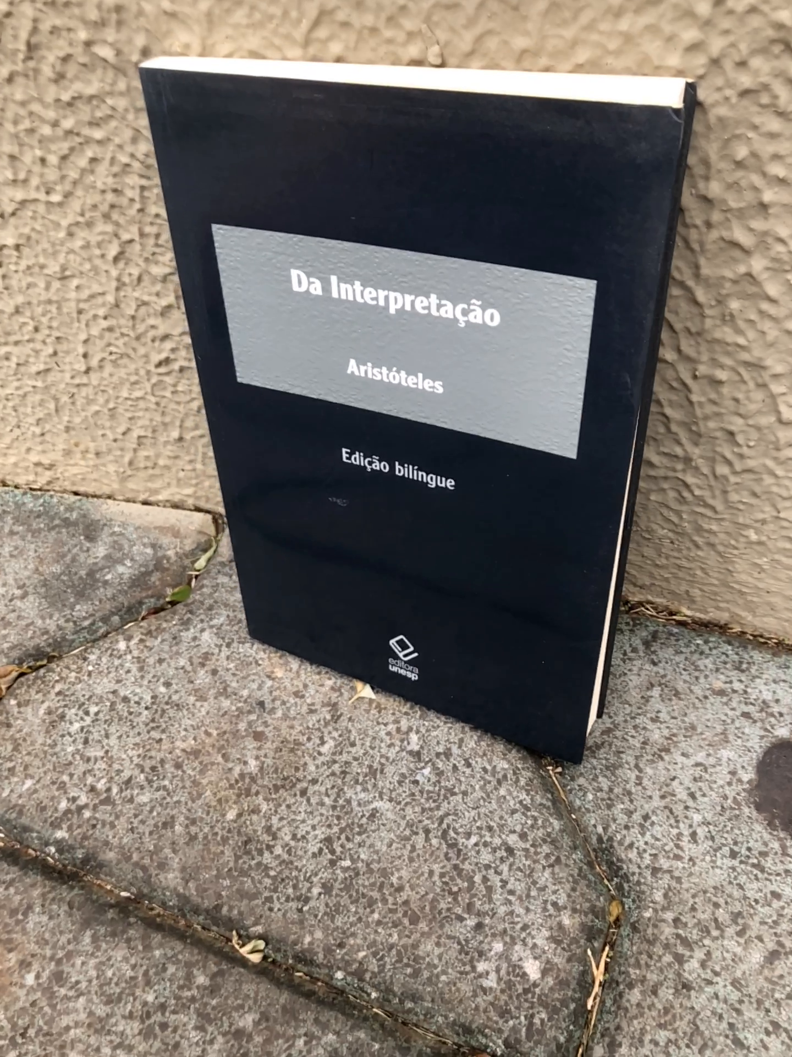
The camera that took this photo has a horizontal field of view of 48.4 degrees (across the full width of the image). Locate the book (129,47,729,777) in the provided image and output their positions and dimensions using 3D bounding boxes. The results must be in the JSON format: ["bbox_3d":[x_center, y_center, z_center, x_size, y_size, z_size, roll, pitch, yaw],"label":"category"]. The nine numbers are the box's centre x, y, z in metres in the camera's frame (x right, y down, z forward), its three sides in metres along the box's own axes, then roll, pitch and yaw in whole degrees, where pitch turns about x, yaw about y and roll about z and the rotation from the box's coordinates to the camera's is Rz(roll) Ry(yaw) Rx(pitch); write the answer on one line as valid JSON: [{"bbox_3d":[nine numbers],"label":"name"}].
[{"bbox_3d":[0.005,-0.025,0.249,0.132,0.187,0.030,17,42,24],"label":"book"}]
